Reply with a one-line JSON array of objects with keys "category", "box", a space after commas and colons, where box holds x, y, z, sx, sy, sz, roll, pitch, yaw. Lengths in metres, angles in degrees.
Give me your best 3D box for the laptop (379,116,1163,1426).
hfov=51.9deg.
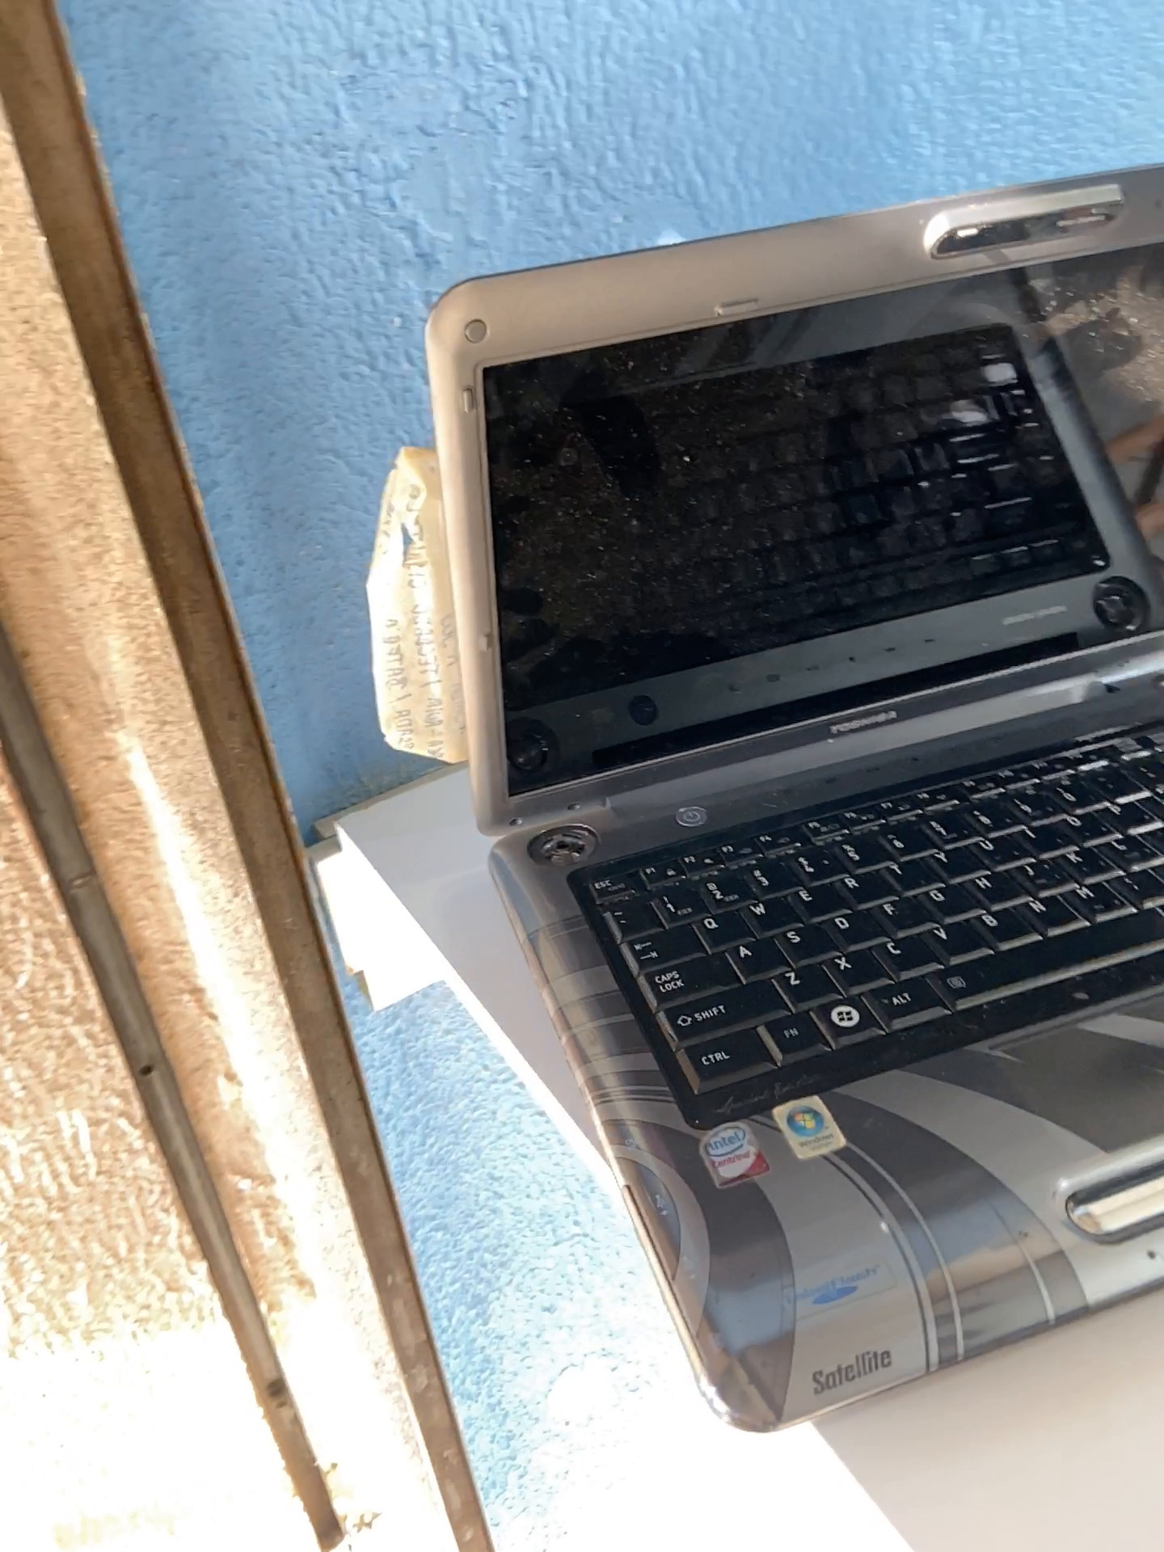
[{"category": "laptop", "box": [0.156, -0.047, 0.375, 0.358, 0.235, 0.260, -14, 32, -11]}]
